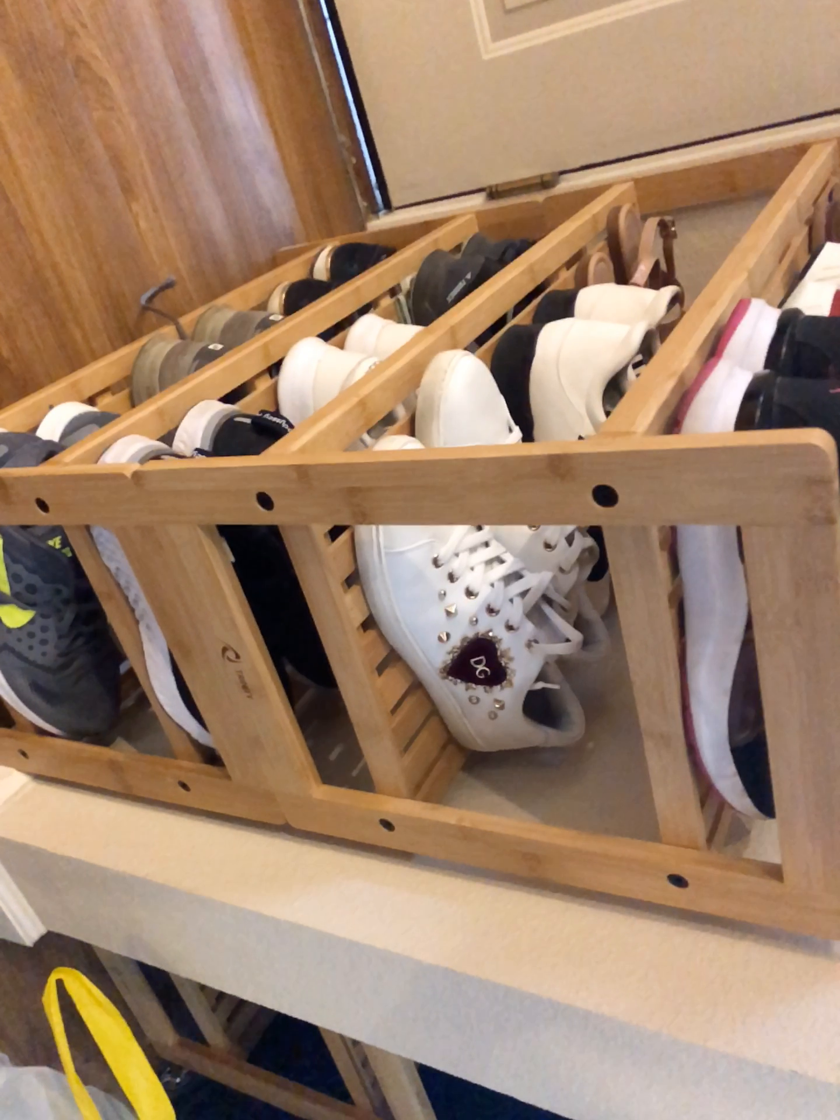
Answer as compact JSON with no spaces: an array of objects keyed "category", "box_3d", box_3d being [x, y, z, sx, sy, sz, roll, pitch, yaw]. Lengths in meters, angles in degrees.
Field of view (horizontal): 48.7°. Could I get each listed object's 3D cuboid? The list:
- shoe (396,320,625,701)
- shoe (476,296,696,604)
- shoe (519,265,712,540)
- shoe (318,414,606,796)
[{"category":"shoe","box_3d":[0.073,-0.027,0.648,0.090,0.070,0.251,-54,134,-43]},{"category":"shoe","box_3d":[0.134,-0.082,0.722,0.090,0.113,0.211,-44,127,-49]},{"category":"shoe","box_3d":[0.174,-0.132,0.808,0.090,0.113,0.211,-44,127,-49]},{"category":"shoe","box_3d":[0.042,0.039,0.626,0.100,0.079,0.261,-62,140,-36]}]
